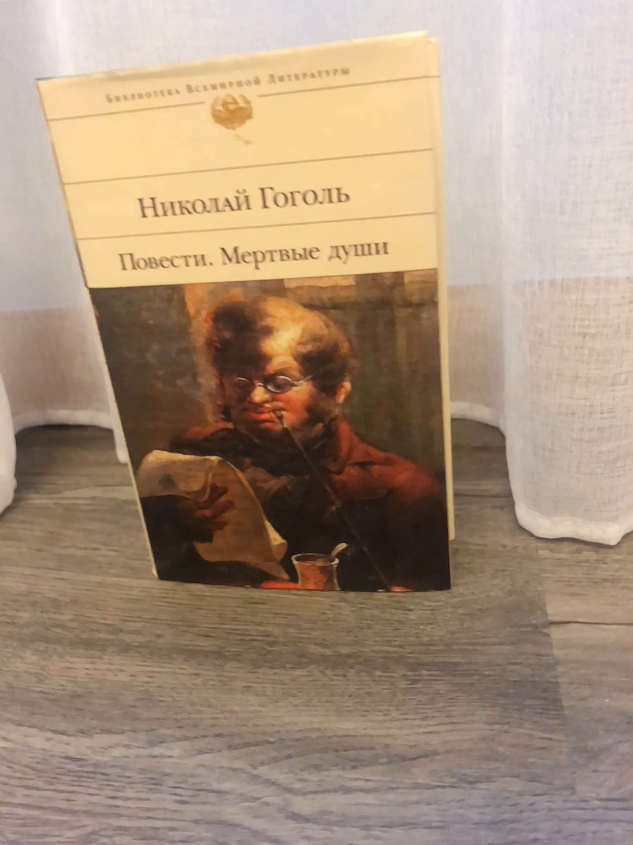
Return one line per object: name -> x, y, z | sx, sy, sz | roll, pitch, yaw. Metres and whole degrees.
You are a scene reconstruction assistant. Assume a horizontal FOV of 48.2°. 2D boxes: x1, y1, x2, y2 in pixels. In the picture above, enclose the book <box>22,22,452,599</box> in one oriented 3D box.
book -> -0.017, -0.030, 0.281 | 0.133, 0.209, 0.041 | -1, 25, 12
